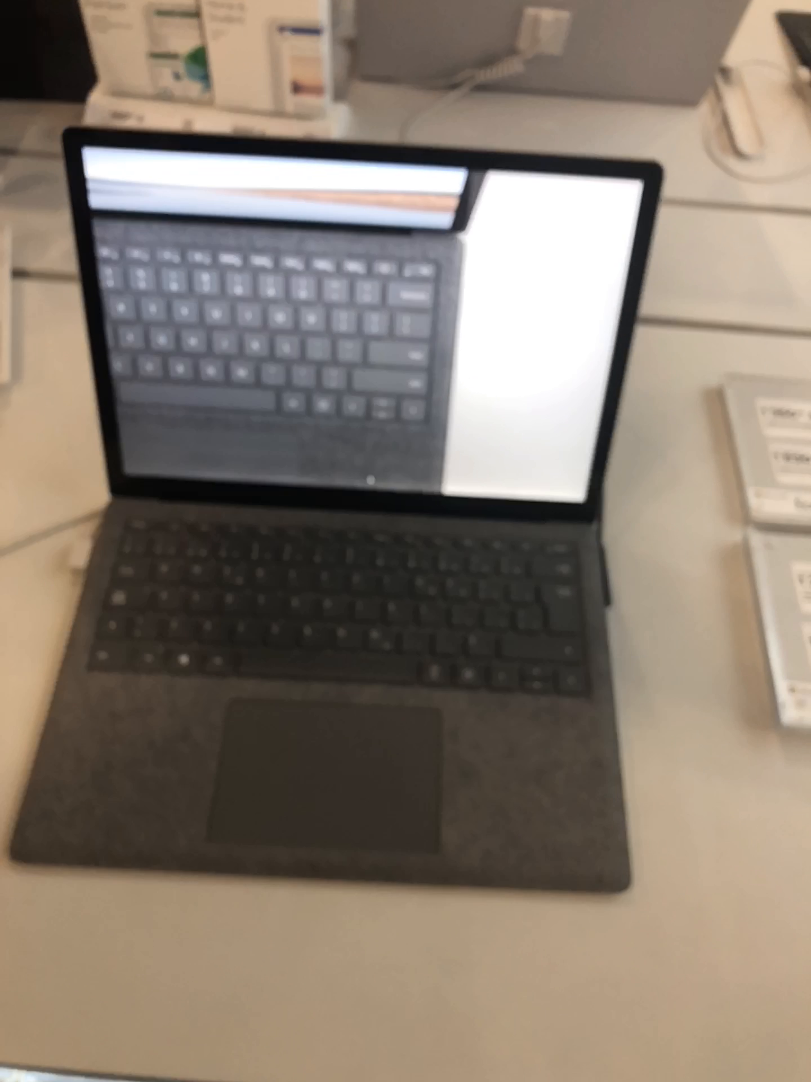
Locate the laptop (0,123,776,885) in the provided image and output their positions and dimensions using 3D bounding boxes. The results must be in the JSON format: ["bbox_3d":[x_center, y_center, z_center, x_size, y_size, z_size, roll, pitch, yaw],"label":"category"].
[{"bbox_3d":[-0.030,-0.020,0.450,0.297,0.197,0.296,3,54,-1],"label":"laptop"}]
